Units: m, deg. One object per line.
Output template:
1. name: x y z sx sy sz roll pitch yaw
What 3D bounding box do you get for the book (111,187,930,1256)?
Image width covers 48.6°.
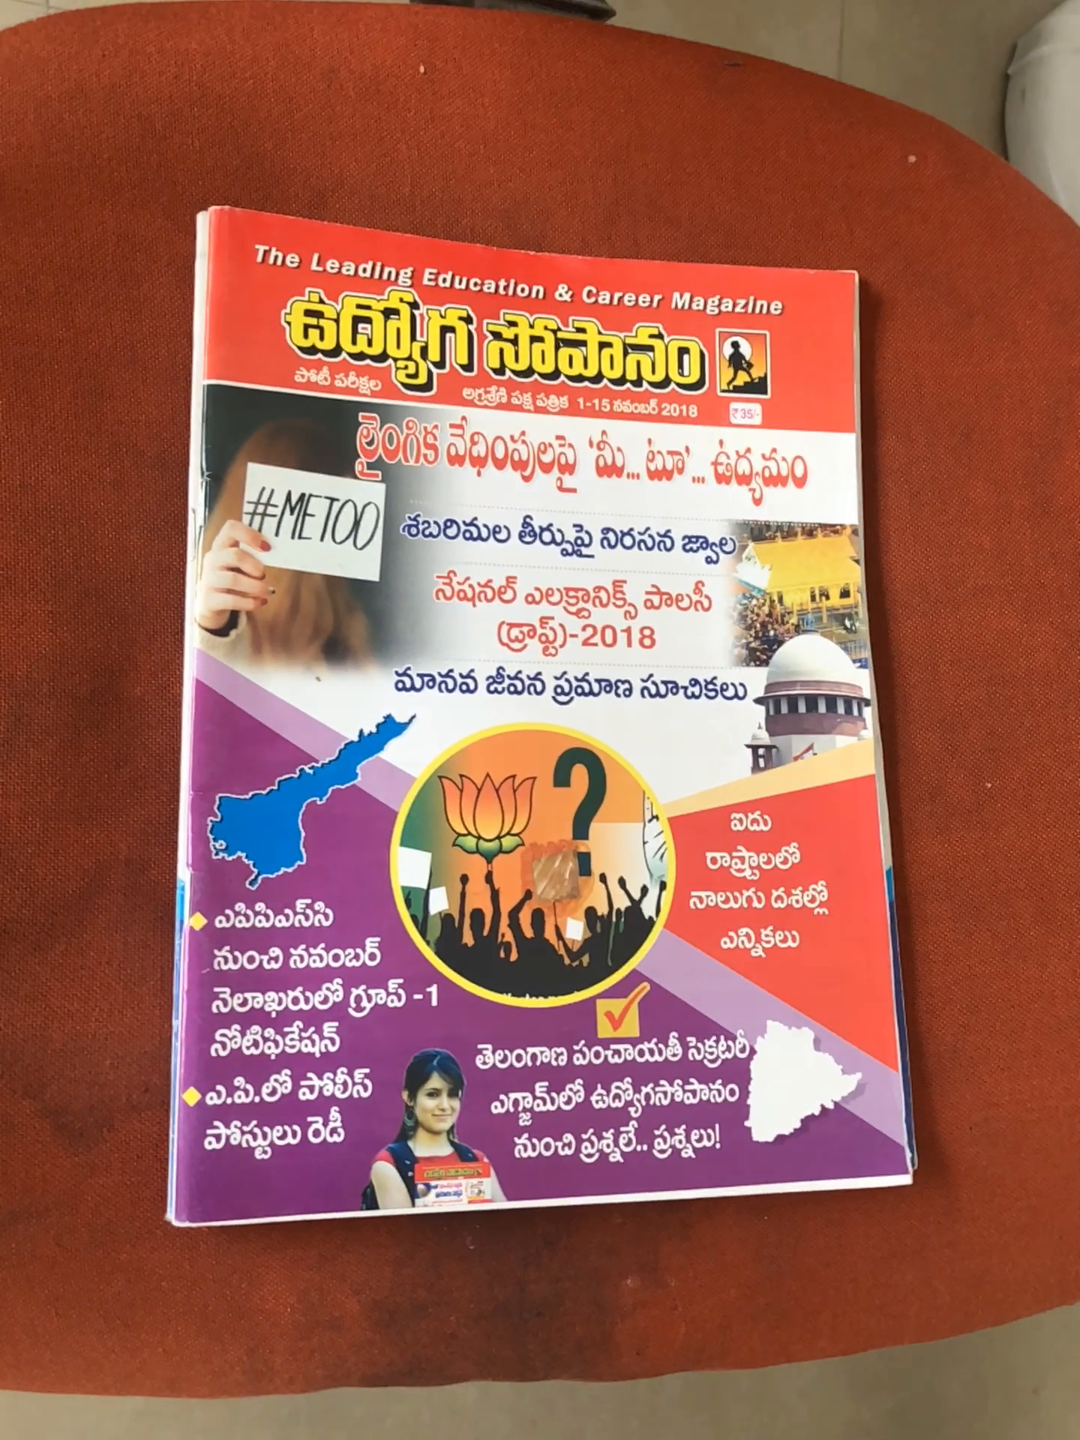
1. book: -0.004 -0.006 0.361 0.217 0.040 0.295 1 79 -9
